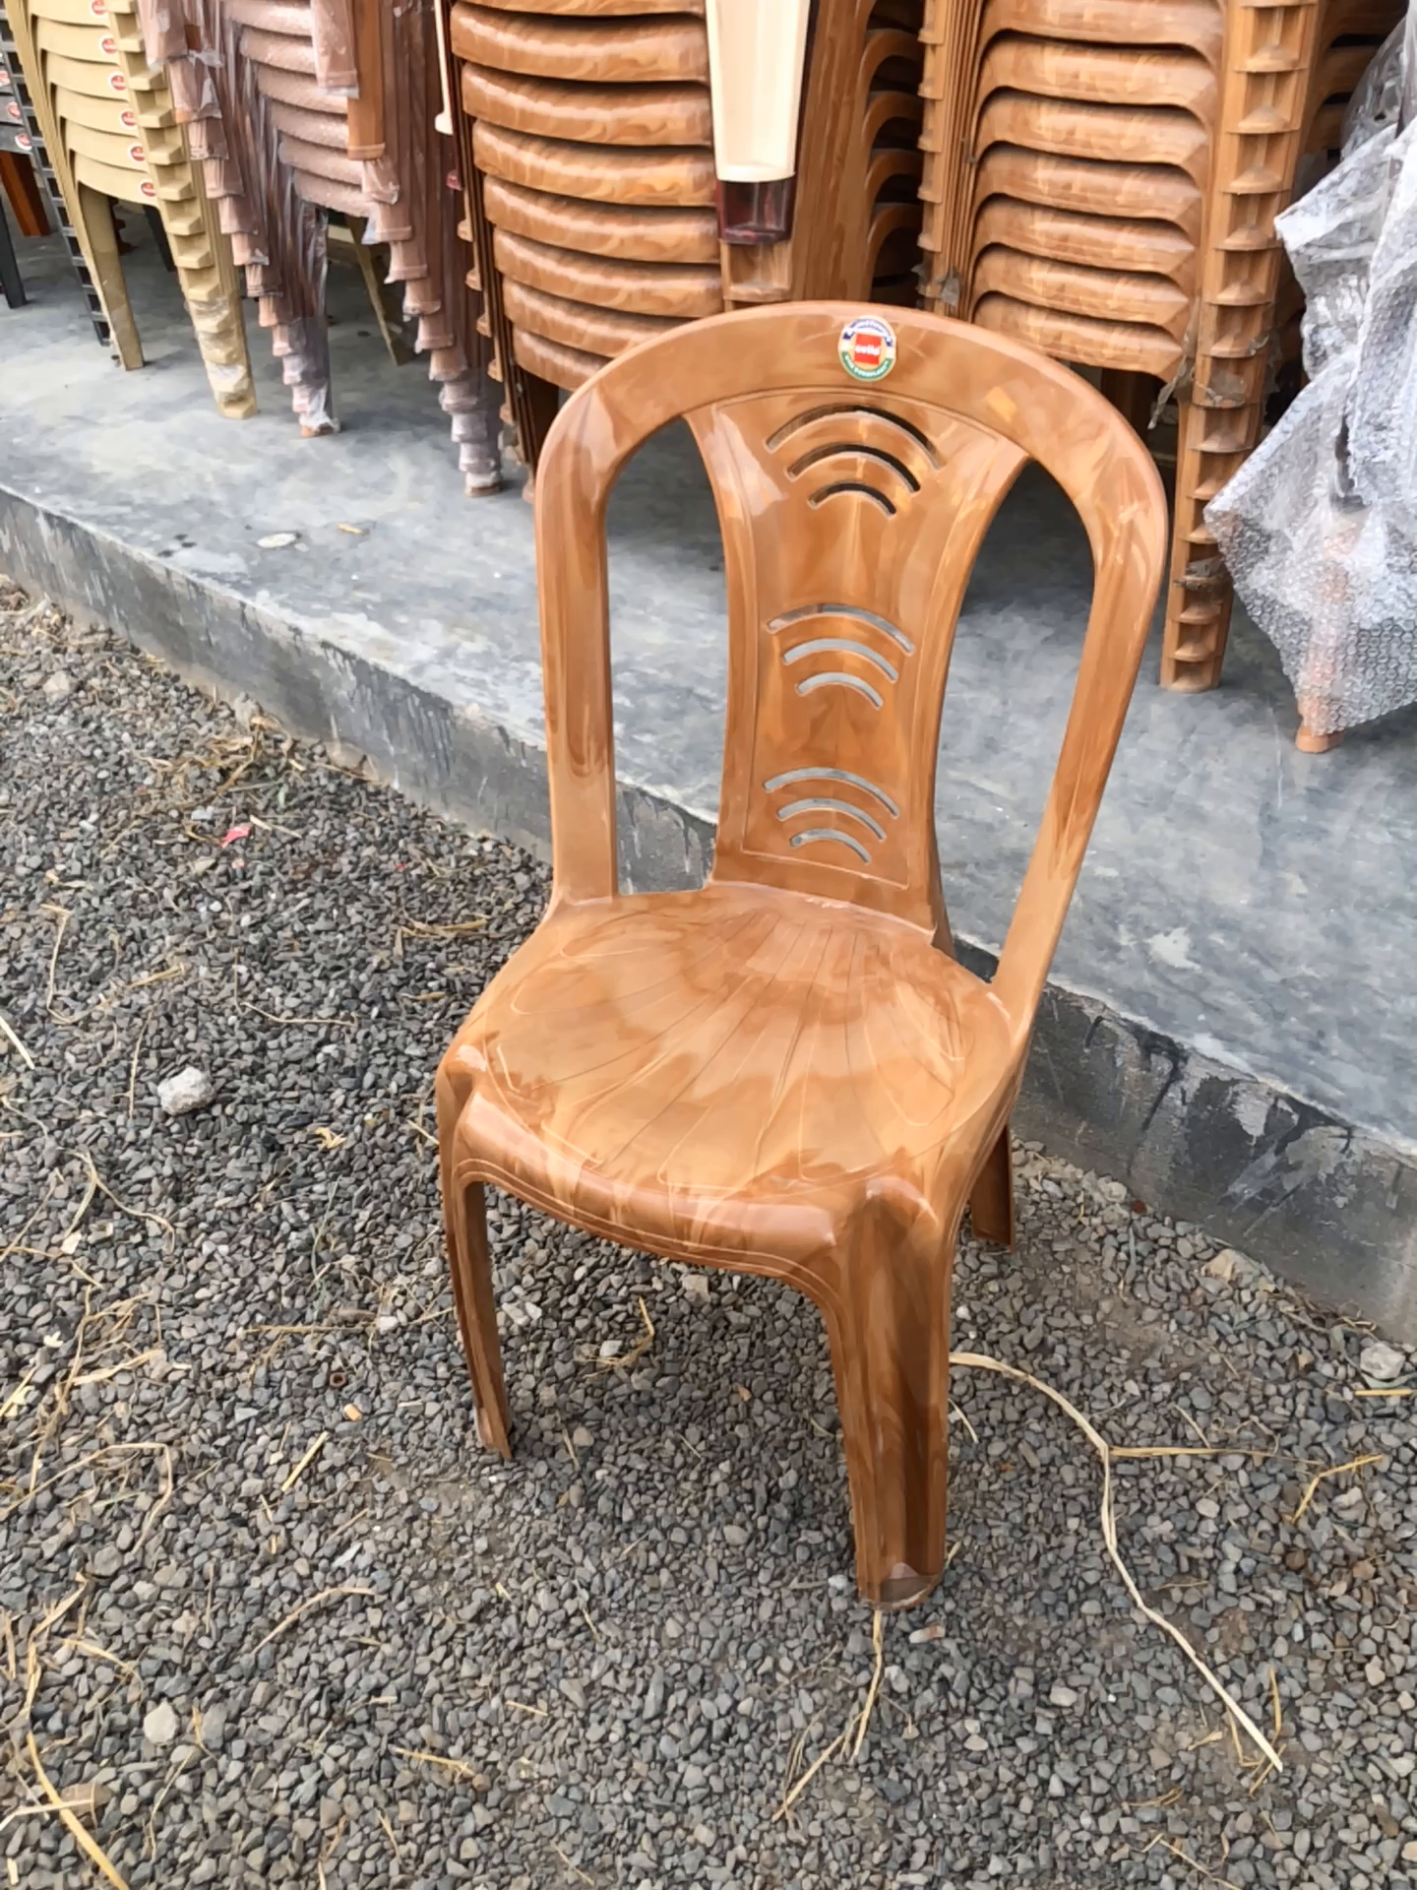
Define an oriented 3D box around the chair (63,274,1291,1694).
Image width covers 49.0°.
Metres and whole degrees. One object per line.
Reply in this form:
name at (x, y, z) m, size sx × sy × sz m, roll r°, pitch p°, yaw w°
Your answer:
chair at (0.043, -0.004, 1.165) m, size 0.540 × 0.766 × 0.583 m, roll 14°, pitch 41°, yaw 21°
